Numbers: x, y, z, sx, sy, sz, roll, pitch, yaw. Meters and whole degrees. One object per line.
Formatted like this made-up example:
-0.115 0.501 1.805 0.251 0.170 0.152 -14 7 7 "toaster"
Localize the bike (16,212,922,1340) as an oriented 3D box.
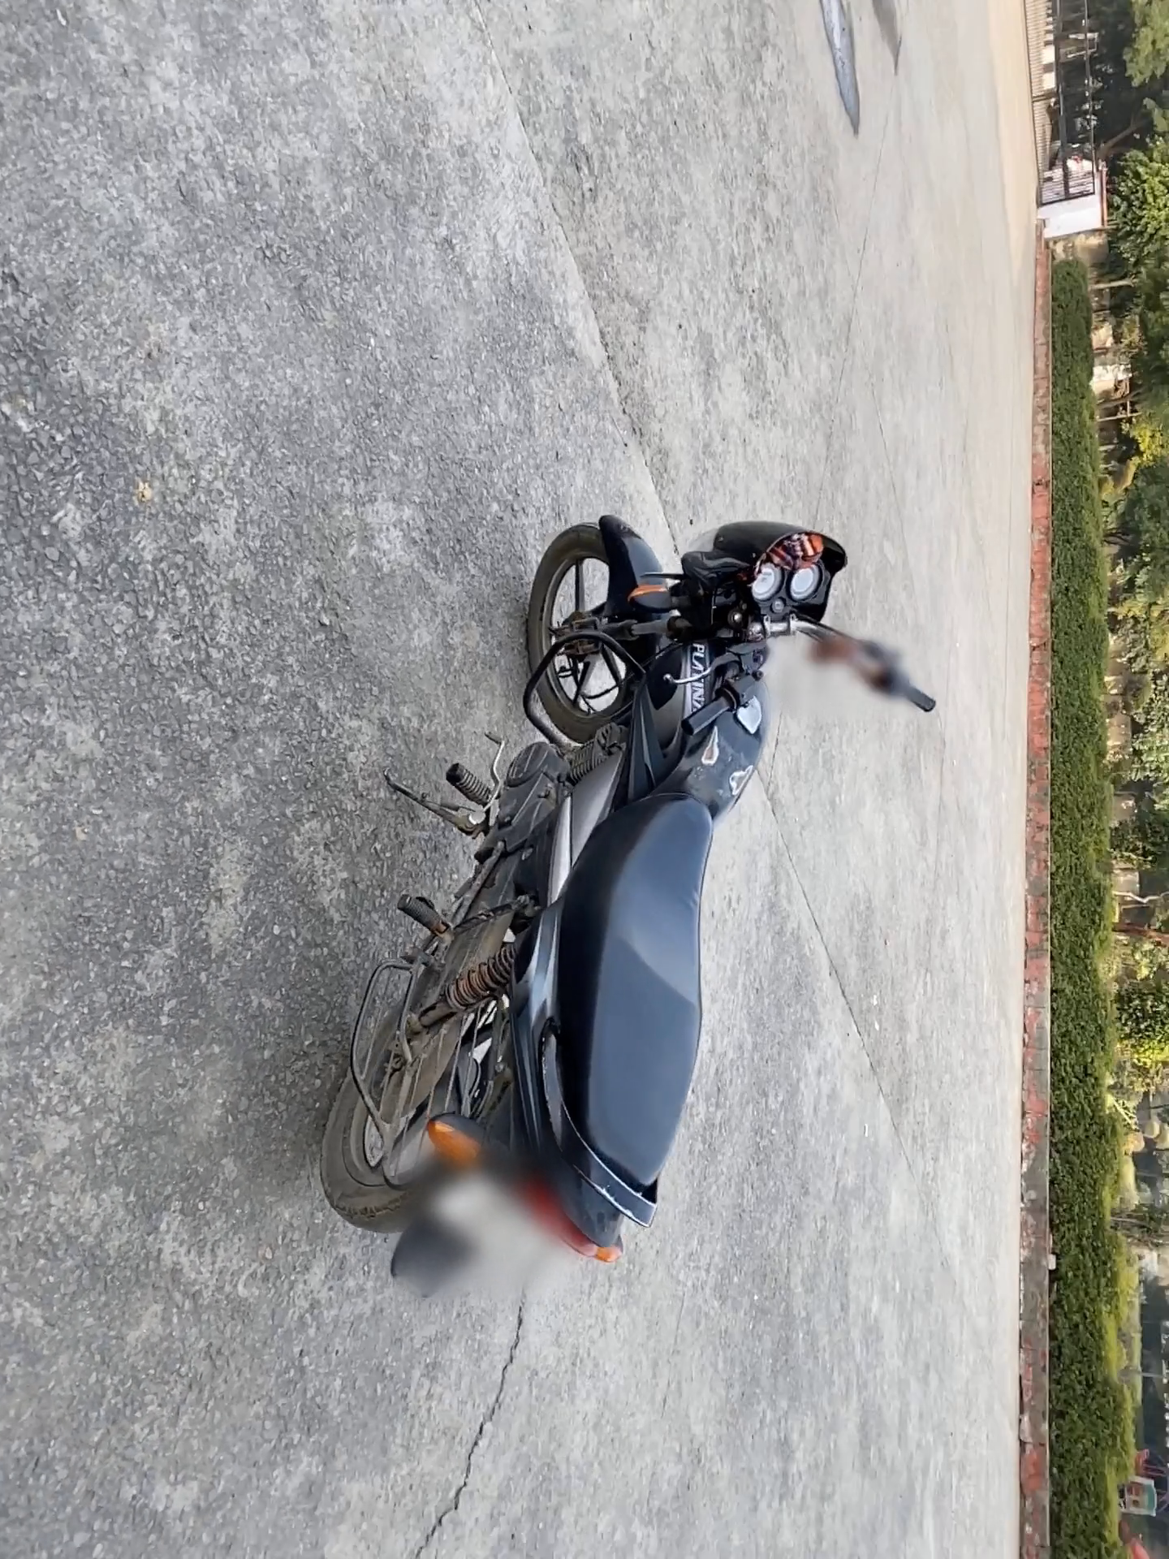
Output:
-0.013 -0.094 2.220 0.774 1.078 1.740 60 35 -46 "bike"
